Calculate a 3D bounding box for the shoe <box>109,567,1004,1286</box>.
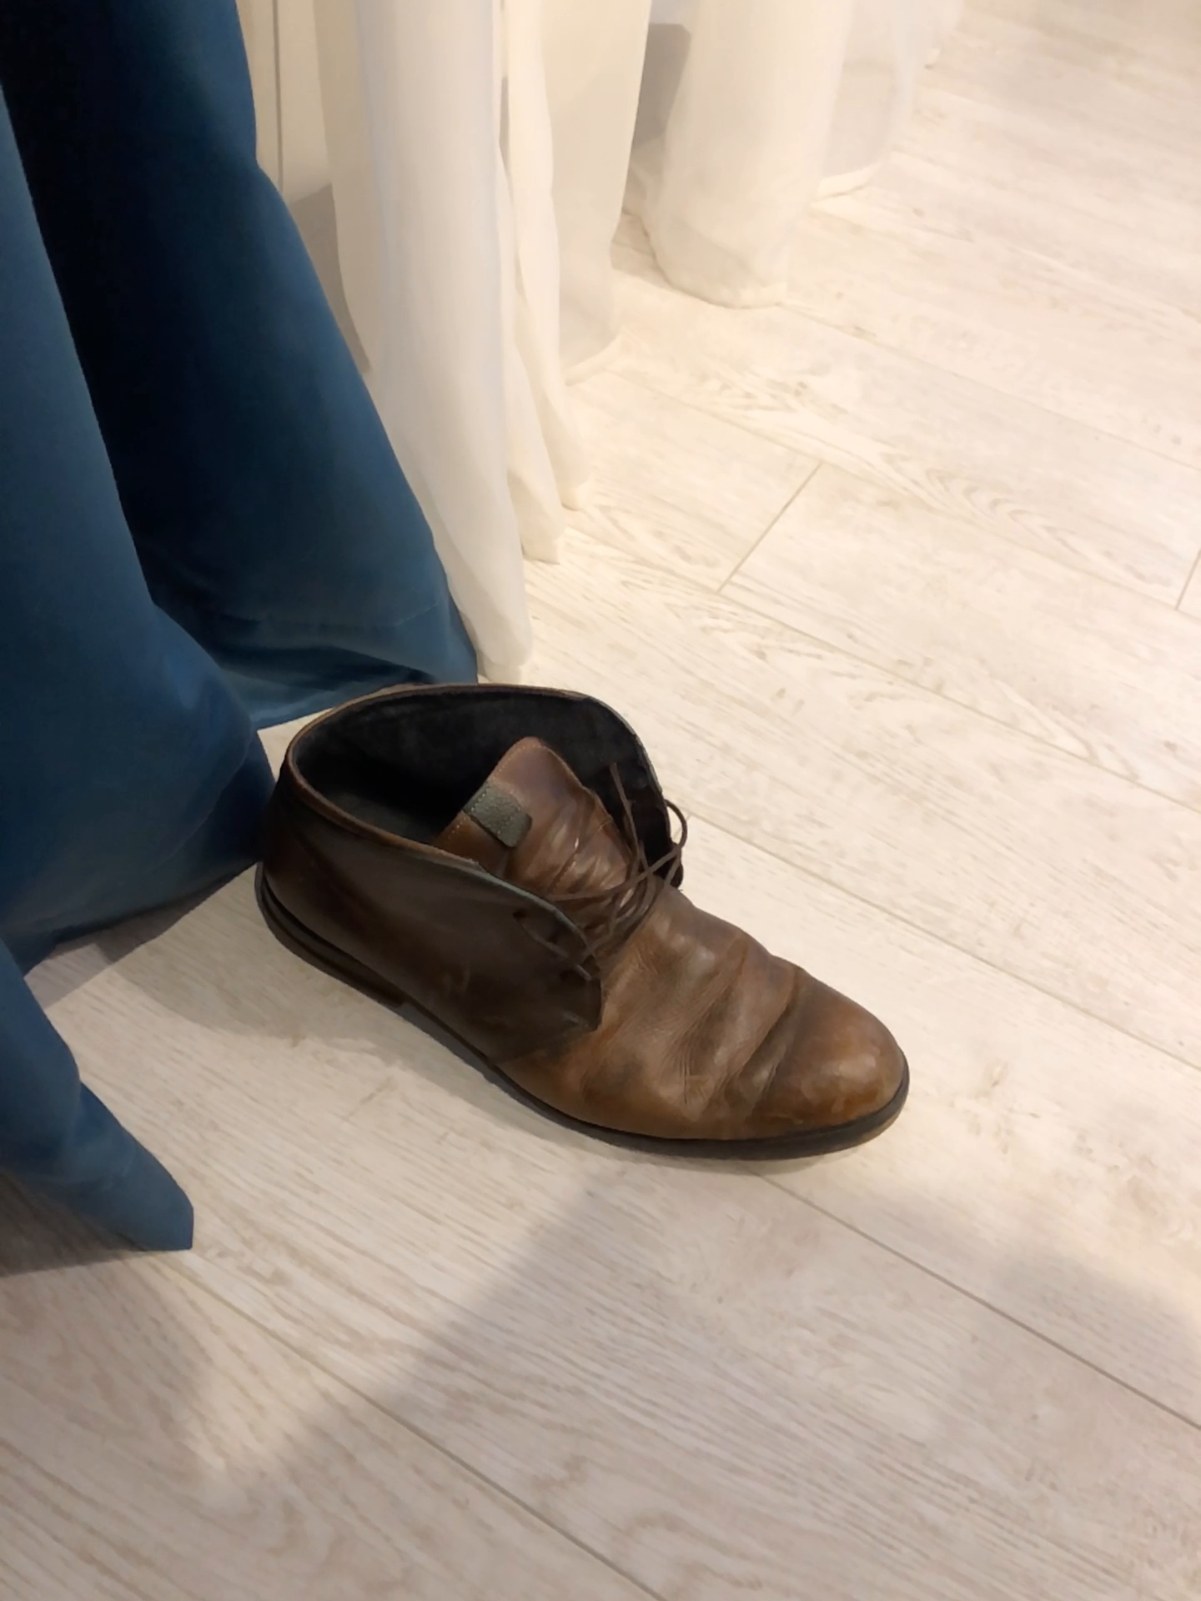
[{"bbox_3d":[-0.021,0.051,0.568,0.320,0.159,0.131,22,52,12],"label":"shoe"}]
